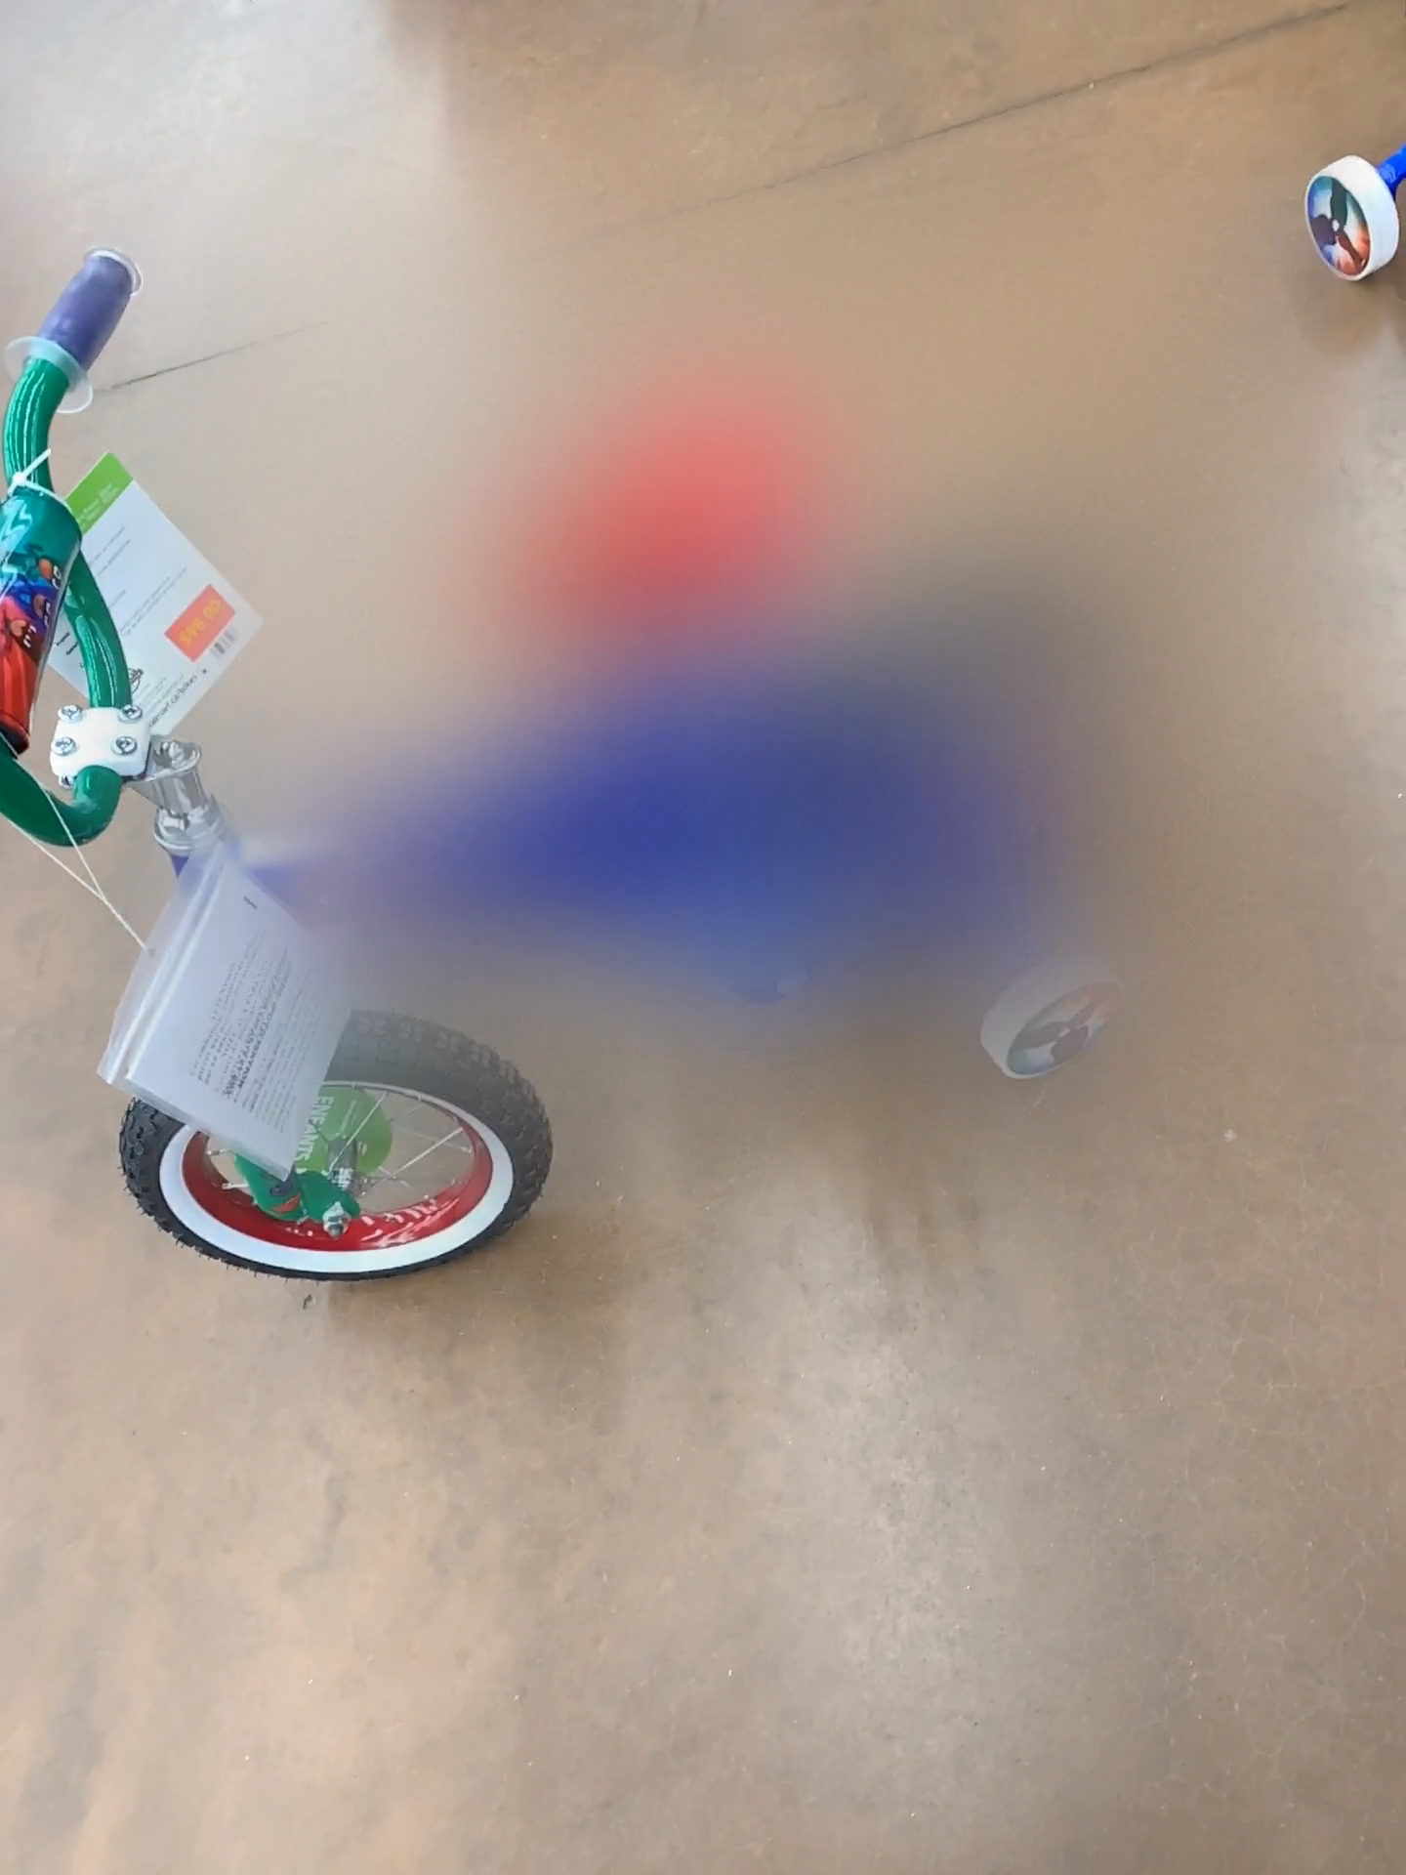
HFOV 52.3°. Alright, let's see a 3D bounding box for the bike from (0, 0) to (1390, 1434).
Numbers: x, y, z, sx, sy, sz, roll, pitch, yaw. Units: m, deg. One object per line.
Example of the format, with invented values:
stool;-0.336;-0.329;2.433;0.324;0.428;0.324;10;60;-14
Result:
bike;-0.115;-0.136;0.942;0.793;0.695;0.466;-29;55;1
